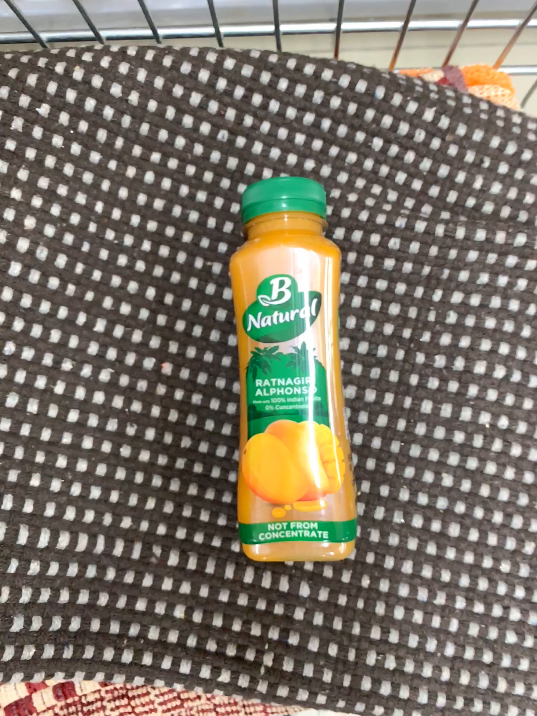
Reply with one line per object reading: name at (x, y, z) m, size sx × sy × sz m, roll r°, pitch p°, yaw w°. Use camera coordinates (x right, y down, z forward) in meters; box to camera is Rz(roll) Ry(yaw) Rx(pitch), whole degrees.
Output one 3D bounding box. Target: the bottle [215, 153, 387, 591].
bottle at (0.013, 0.006, 0.232) m, size 0.060 × 0.050 × 0.160 m, roll -1°, pitch 88°, yaw 4°
